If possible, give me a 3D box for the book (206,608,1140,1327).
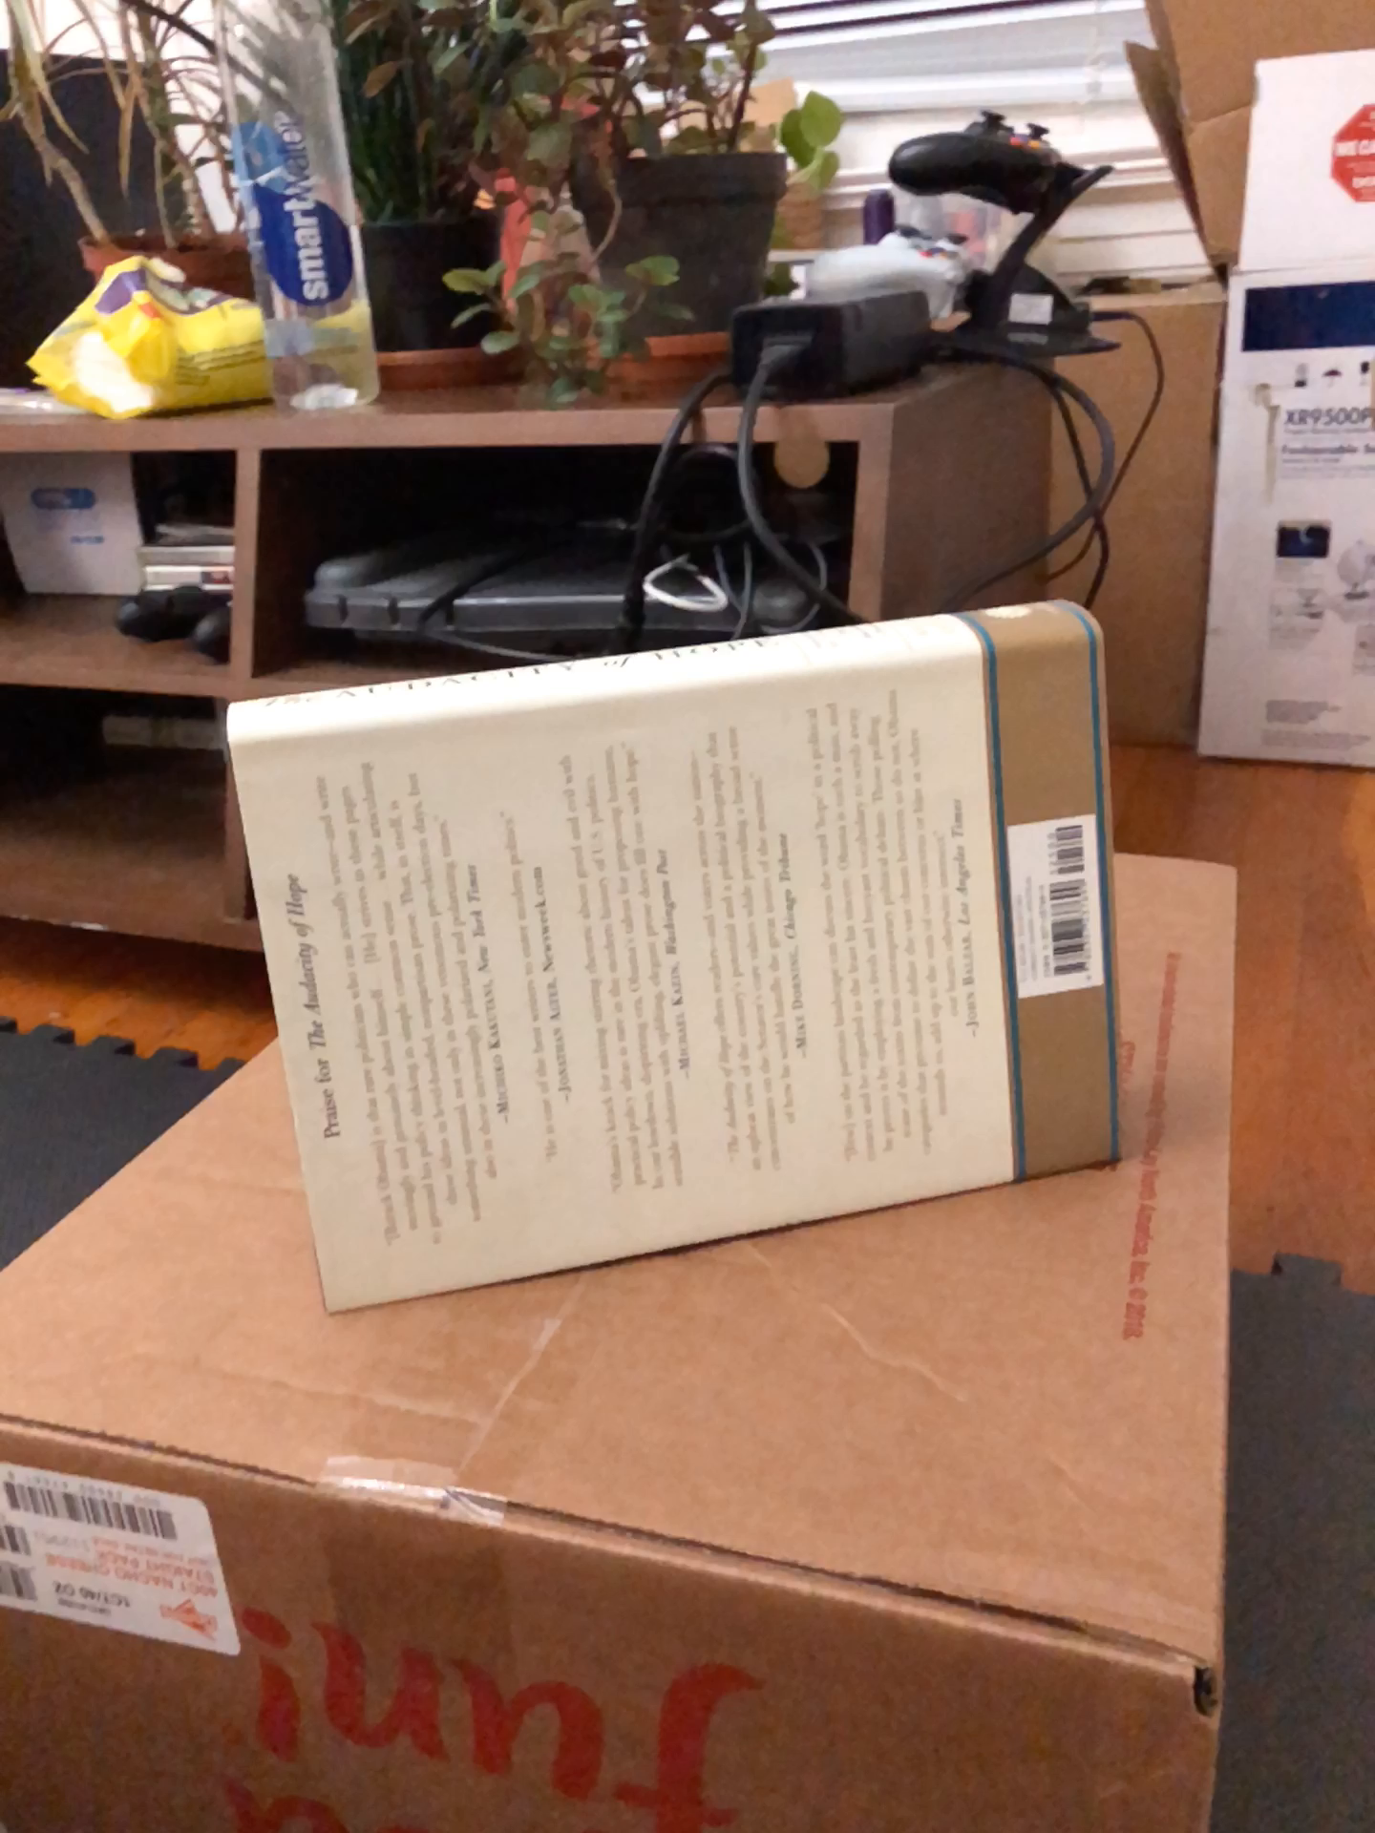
[{"bbox_3d":[0.002,0.006,0.449,0.250,0.170,0.060,-8,12,-12],"label":"book"}]
